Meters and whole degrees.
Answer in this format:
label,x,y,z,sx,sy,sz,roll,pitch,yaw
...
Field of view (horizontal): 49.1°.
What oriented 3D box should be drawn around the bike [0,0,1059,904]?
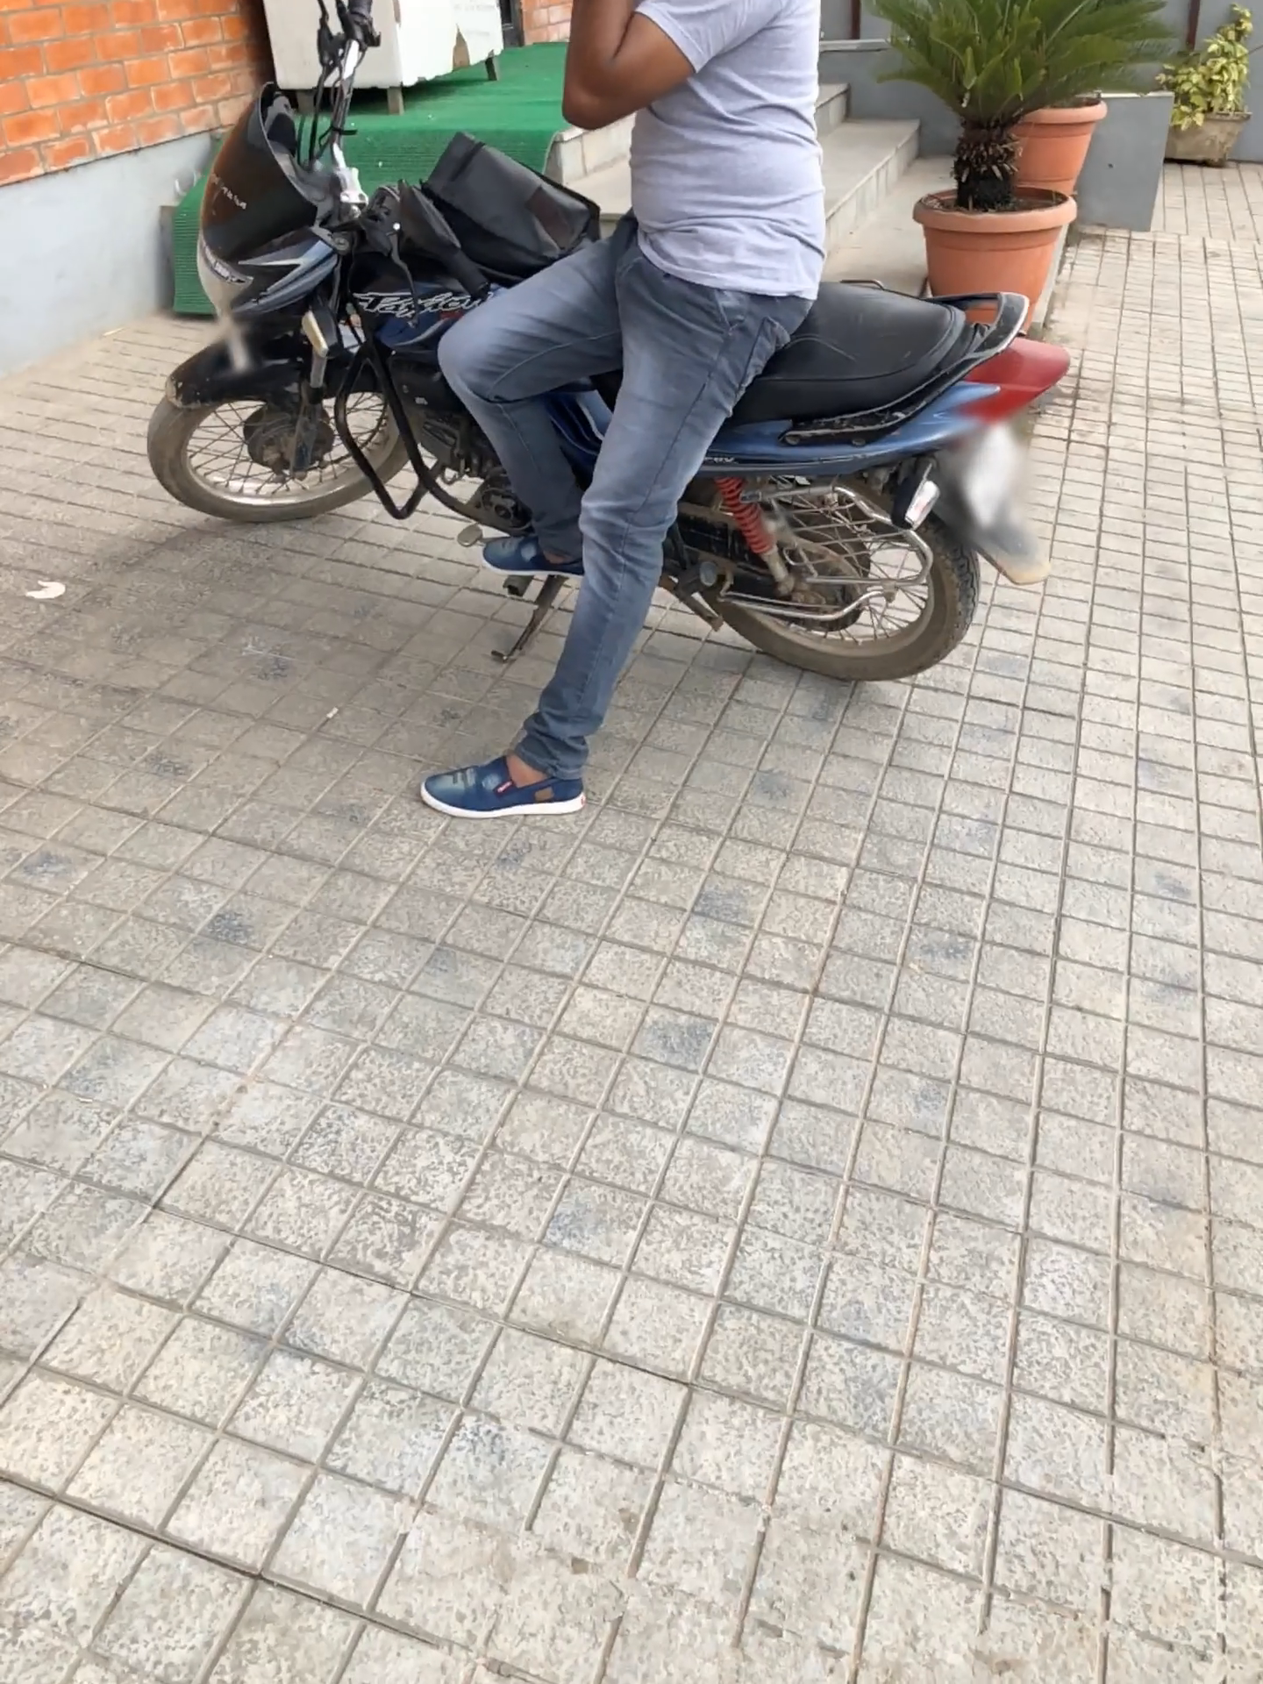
label,x,y,z,sx,sy,sz,roll,pitch,yaw
bike,-0.338,-0.869,2.445,1.819,1.345,0.817,12,37,15
